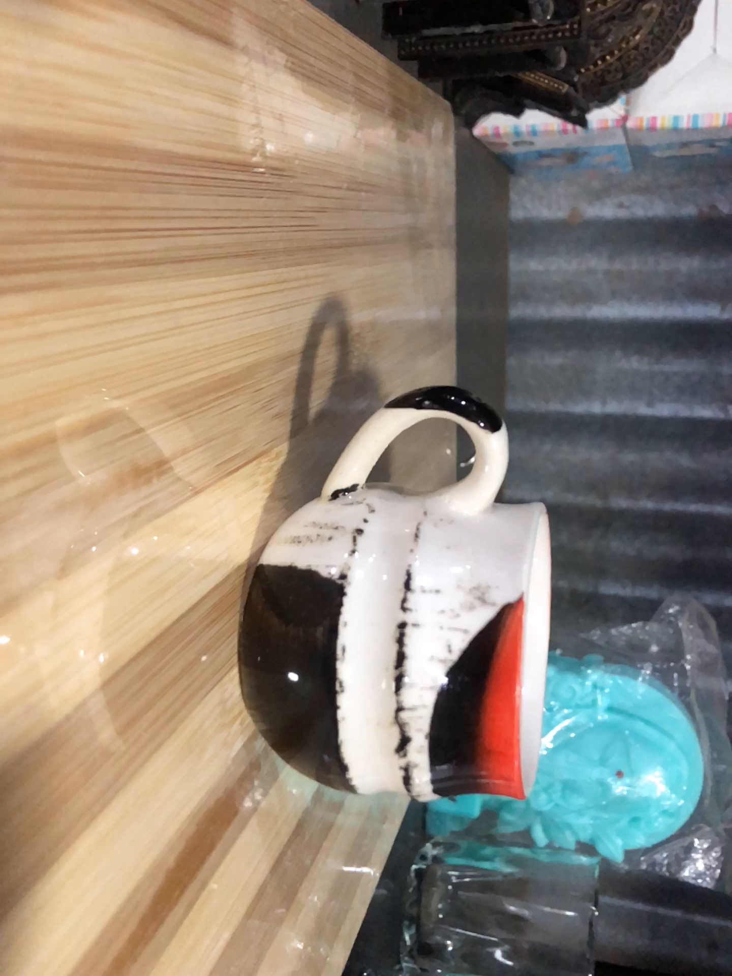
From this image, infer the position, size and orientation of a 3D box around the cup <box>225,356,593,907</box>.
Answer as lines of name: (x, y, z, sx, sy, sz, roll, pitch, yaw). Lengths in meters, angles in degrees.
cup: (0.016, 0.022, 0.181, 0.080, 0.060, 0.090, -3, 97, -74)
